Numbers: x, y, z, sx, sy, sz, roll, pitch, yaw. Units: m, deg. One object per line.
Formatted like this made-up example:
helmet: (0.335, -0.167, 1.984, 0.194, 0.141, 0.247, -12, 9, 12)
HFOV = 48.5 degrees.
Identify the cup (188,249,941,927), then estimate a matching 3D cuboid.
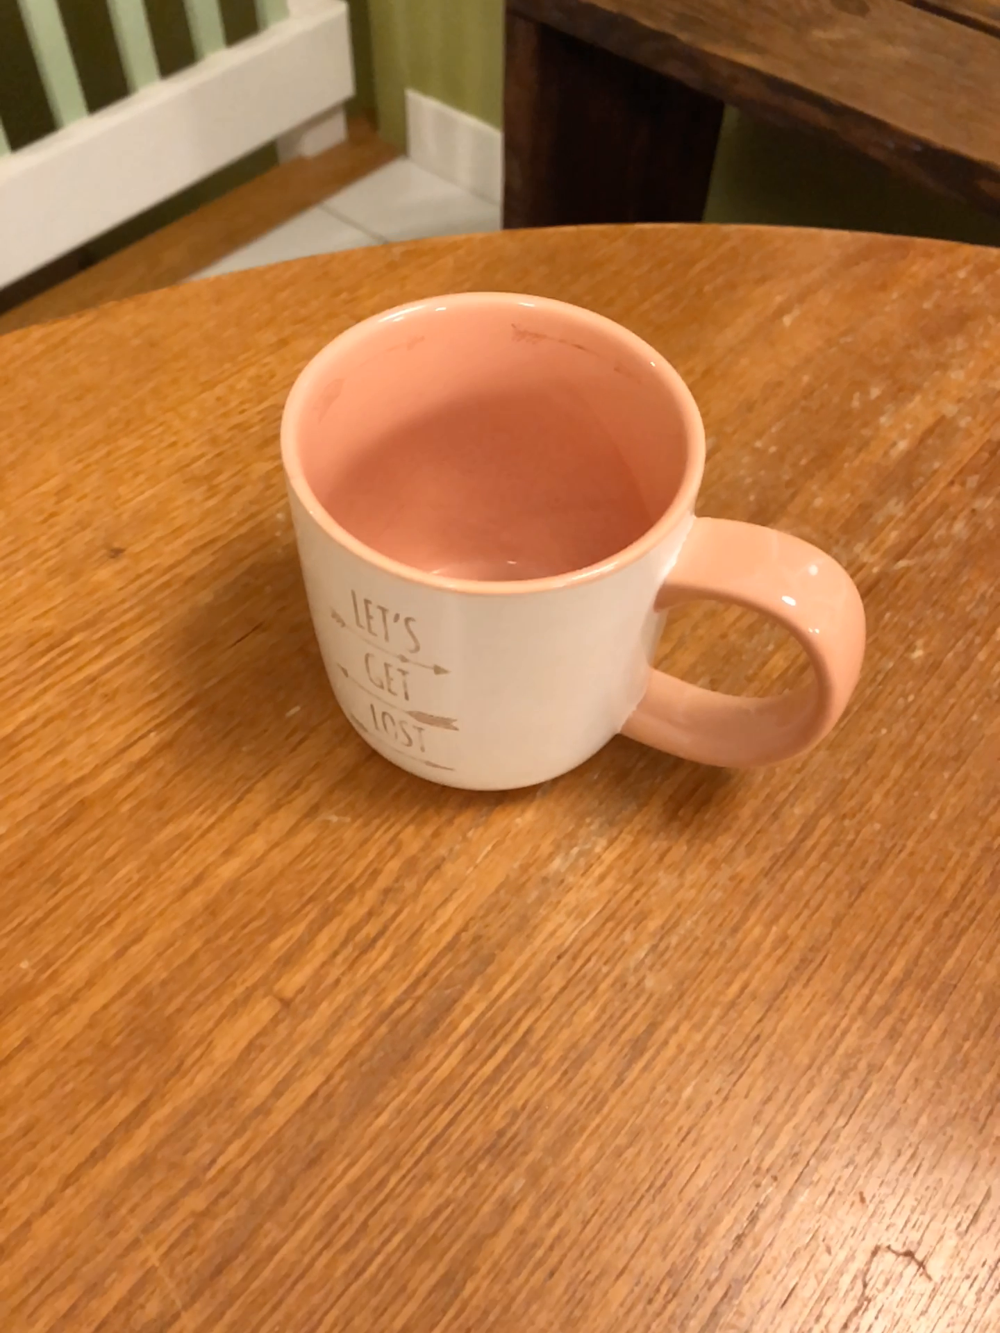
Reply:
cup: (0.017, -0.020, 0.289, 0.144, 0.106, 0.094, 18, 56, 11)
